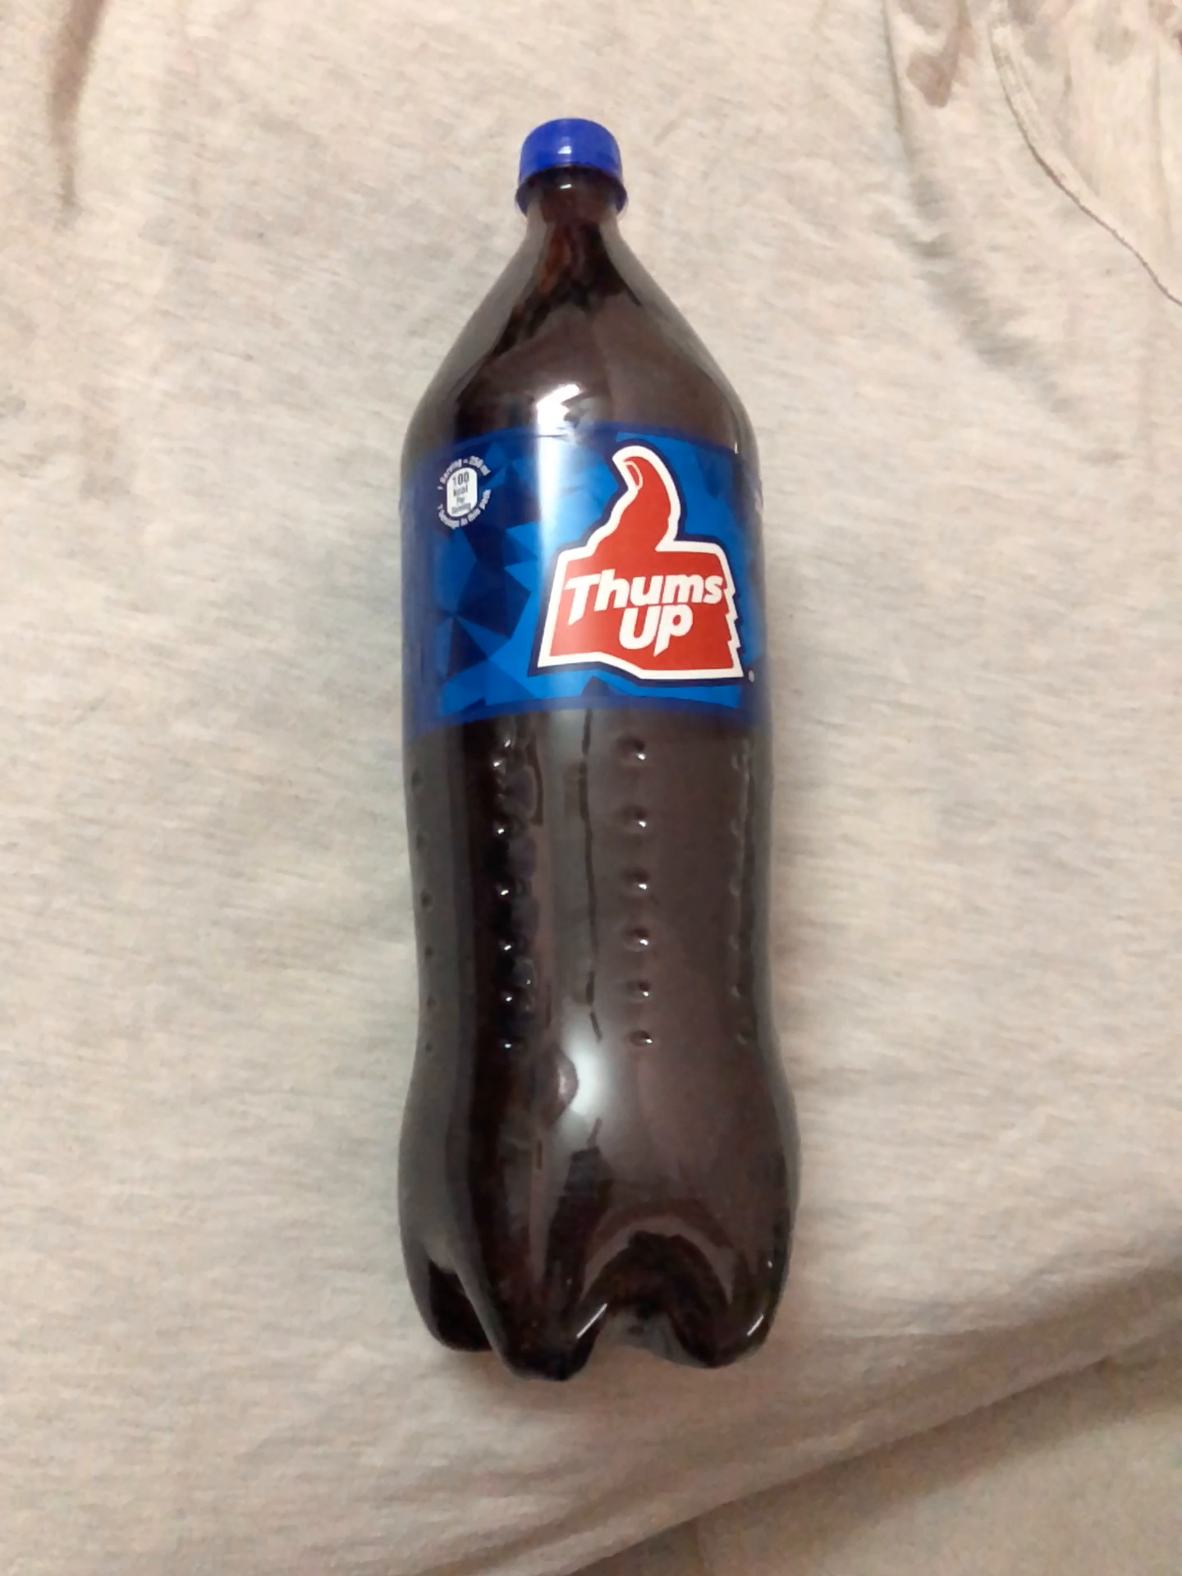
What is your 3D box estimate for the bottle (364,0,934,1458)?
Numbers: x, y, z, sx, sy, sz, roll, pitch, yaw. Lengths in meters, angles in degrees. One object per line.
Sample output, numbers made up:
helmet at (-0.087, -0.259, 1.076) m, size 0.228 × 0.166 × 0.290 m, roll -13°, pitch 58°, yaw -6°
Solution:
bottle at (0.004, -0.027, 0.293) m, size 0.100 × 0.060 × 0.300 m, roll 1°, pitch 79°, yaw -16°
